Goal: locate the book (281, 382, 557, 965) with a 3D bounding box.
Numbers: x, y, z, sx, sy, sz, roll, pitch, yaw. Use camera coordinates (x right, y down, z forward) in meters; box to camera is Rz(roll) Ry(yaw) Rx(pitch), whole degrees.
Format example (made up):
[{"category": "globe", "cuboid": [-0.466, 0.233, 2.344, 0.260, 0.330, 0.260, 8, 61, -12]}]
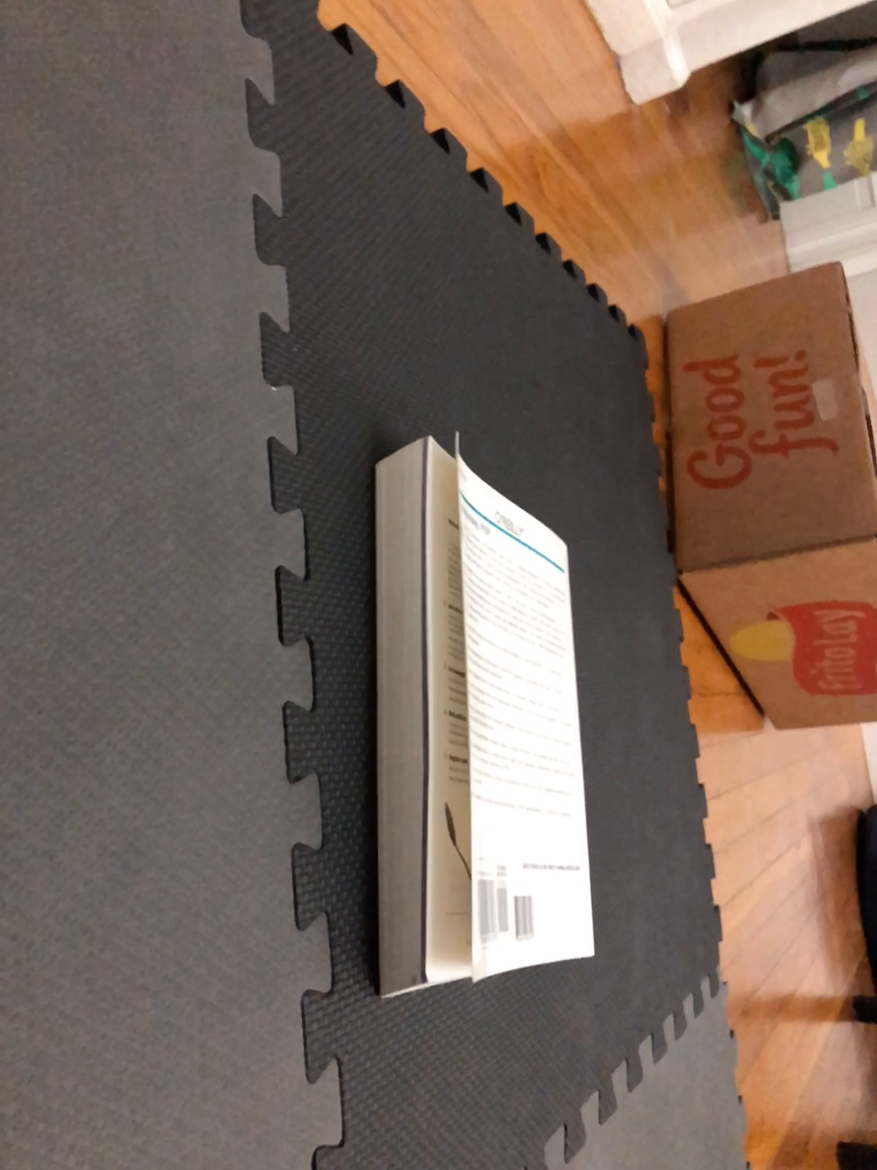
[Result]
[{"category": "book", "cuboid": [0.002, 0.063, 0.578, 0.231, 0.040, 0.290, 29, 57, -56]}]
